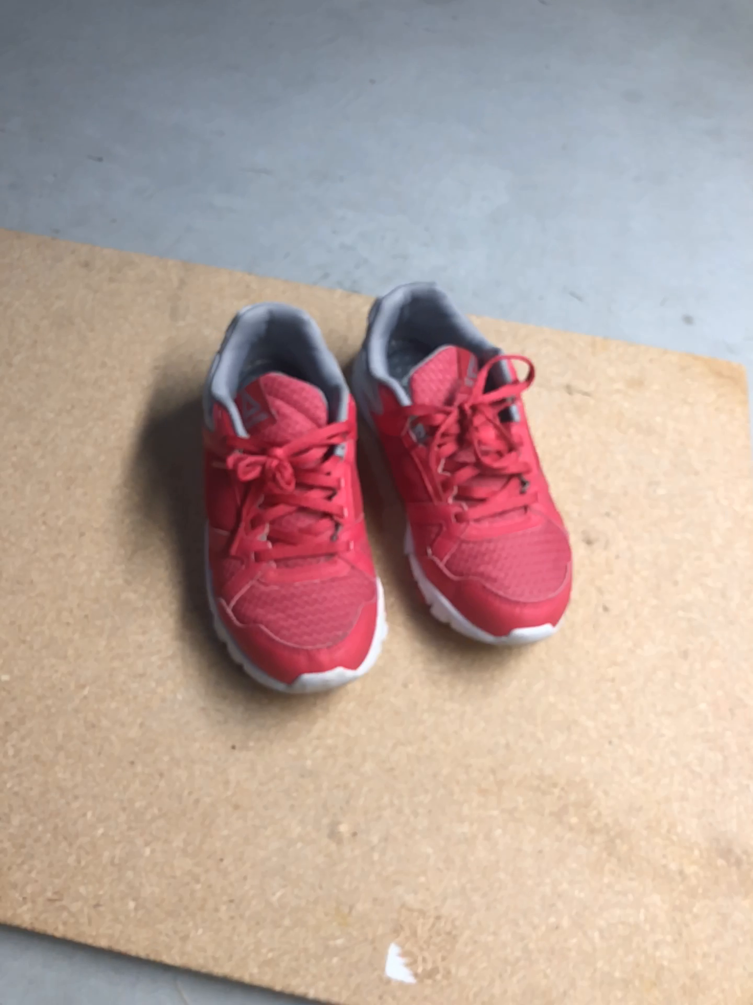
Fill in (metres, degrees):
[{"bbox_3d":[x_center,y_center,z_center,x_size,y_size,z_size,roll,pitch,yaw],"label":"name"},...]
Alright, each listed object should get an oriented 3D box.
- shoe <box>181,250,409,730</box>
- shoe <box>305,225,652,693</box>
[{"bbox_3d":[-0.057,-0.019,0.502,0.100,0.100,0.270,-5,57,-8],"label":"shoe"},{"bbox_3d":[0.044,-0.038,0.525,0.110,0.100,0.270,-13,58,-13],"label":"shoe"}]
